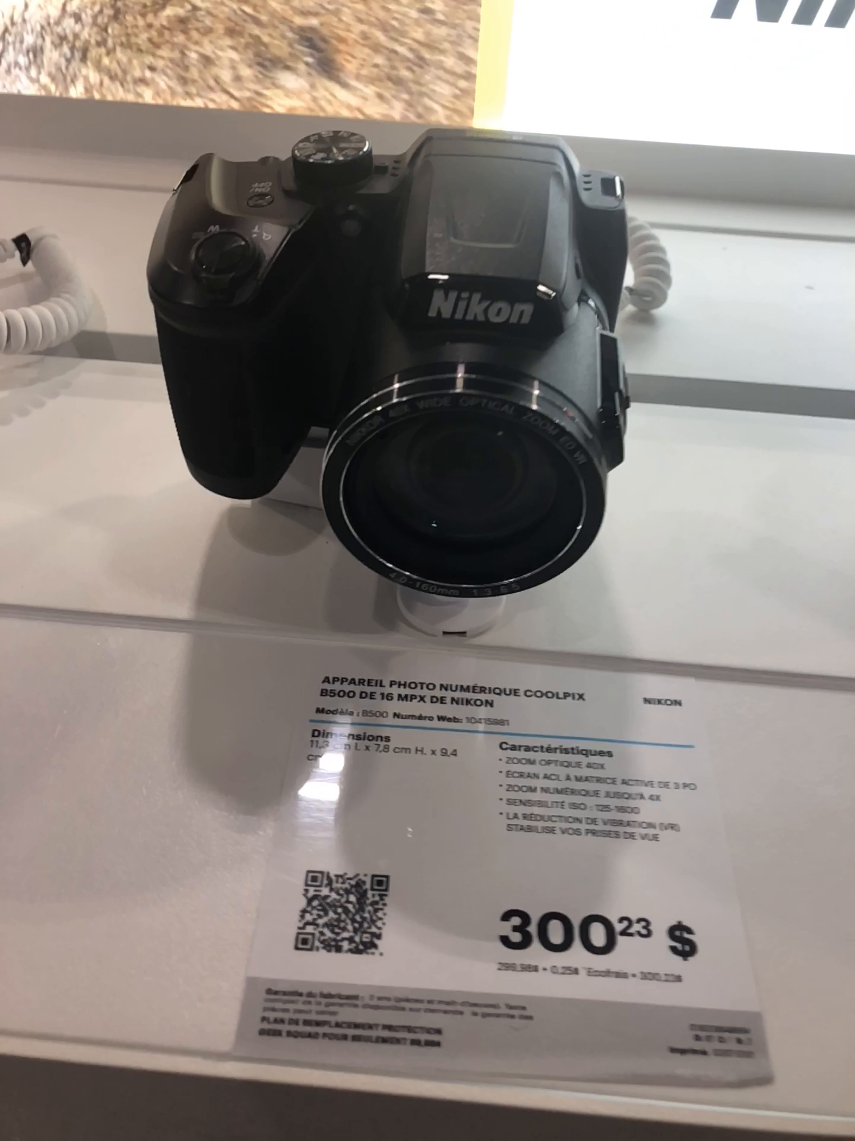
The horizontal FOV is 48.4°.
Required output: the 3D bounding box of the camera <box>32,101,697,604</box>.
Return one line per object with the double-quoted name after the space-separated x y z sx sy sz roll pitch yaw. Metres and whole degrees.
-0.009 -0.051 0.213 0.111 0.069 0.085 4 43 1 "camera"
